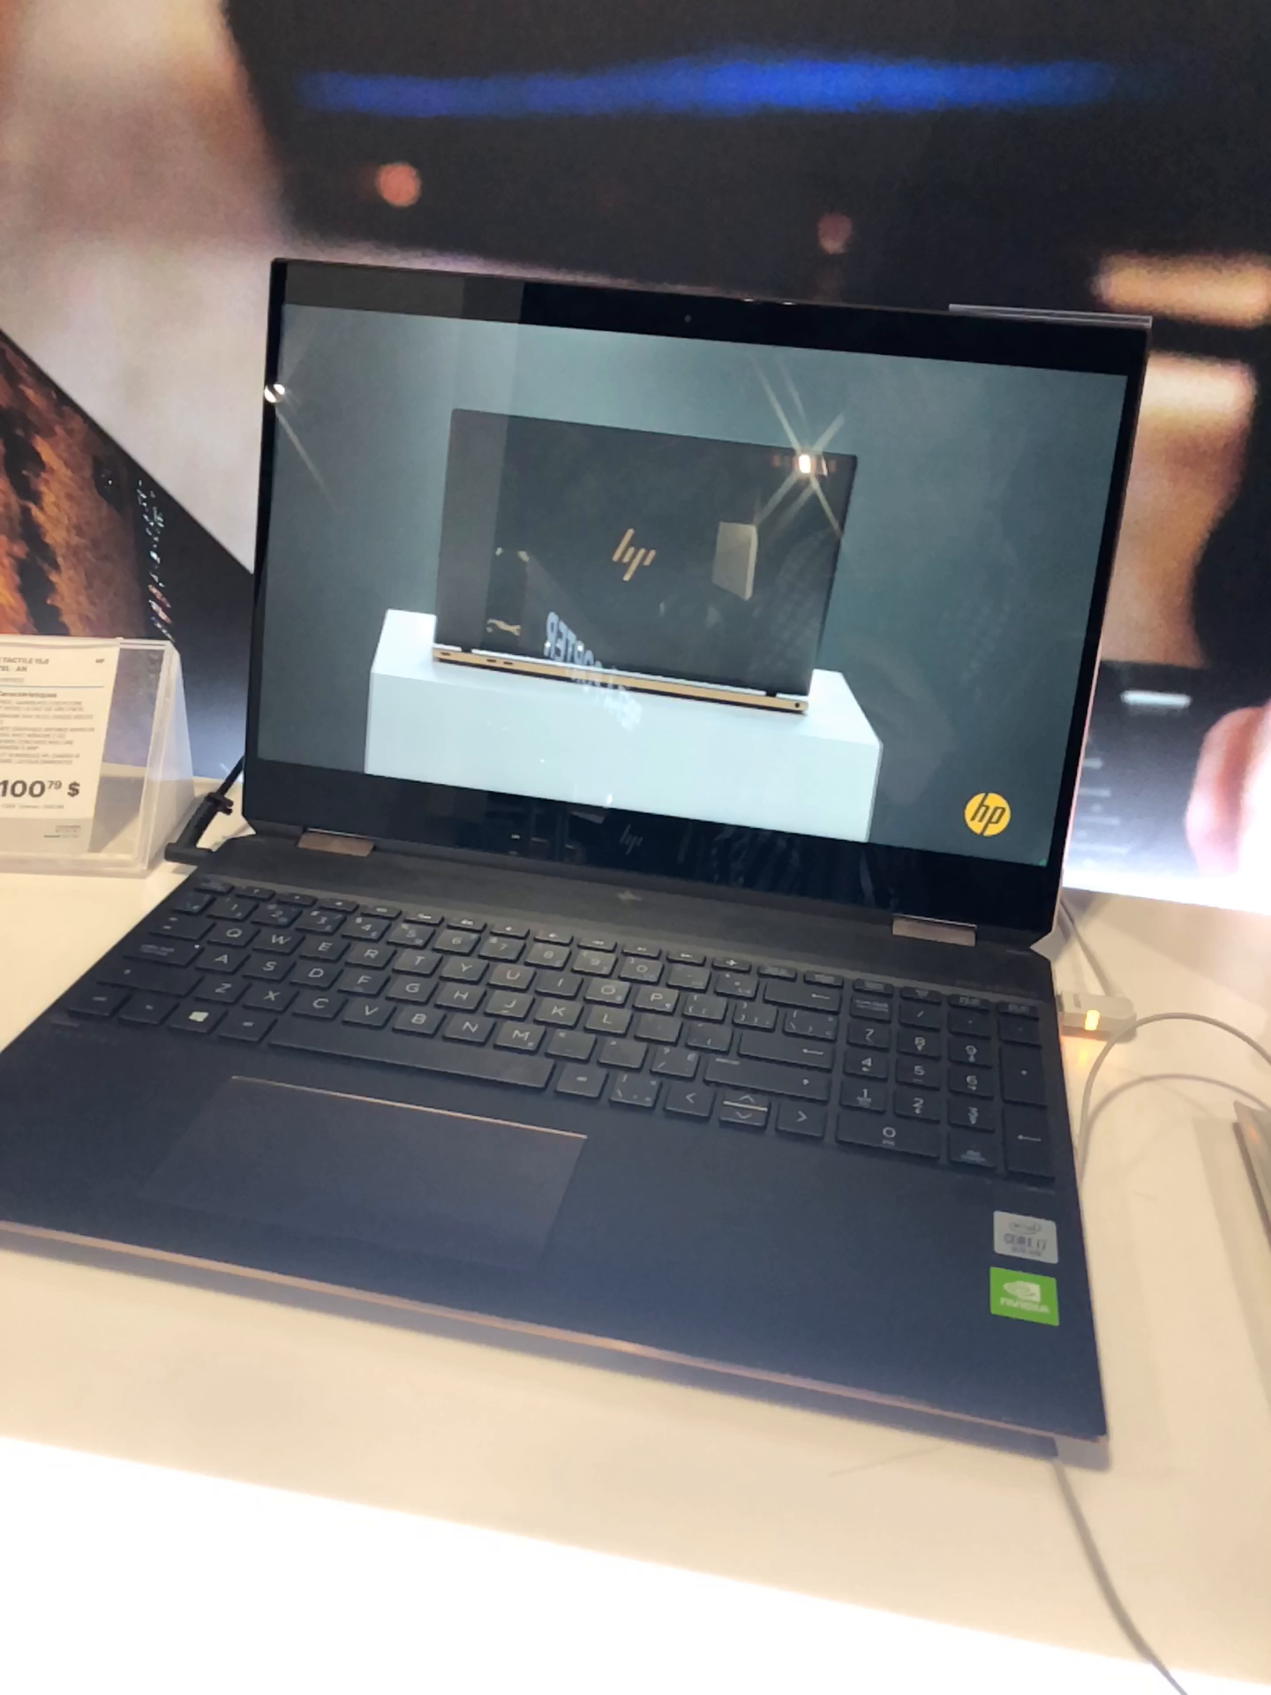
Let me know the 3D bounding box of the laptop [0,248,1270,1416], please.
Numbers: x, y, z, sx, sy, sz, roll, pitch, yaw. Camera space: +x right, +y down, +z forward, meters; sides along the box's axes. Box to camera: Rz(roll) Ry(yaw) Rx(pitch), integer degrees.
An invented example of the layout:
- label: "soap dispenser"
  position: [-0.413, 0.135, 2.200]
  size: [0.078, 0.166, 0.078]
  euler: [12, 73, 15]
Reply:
- label: "laptop"
  position: [-0.018, -0.052, 0.459]
  size: [0.332, 0.226, 0.323]
  euler: [8, 26, 6]
